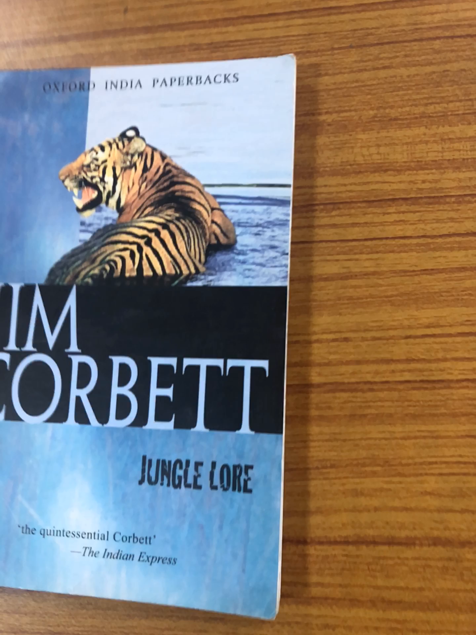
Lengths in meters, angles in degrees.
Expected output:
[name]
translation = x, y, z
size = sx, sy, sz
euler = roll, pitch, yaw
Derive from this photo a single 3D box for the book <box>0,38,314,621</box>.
[book]
translation = -0.047, -0.002, 0.219
size = 0.150, 0.010, 0.220
euler = 1, 84, 10
